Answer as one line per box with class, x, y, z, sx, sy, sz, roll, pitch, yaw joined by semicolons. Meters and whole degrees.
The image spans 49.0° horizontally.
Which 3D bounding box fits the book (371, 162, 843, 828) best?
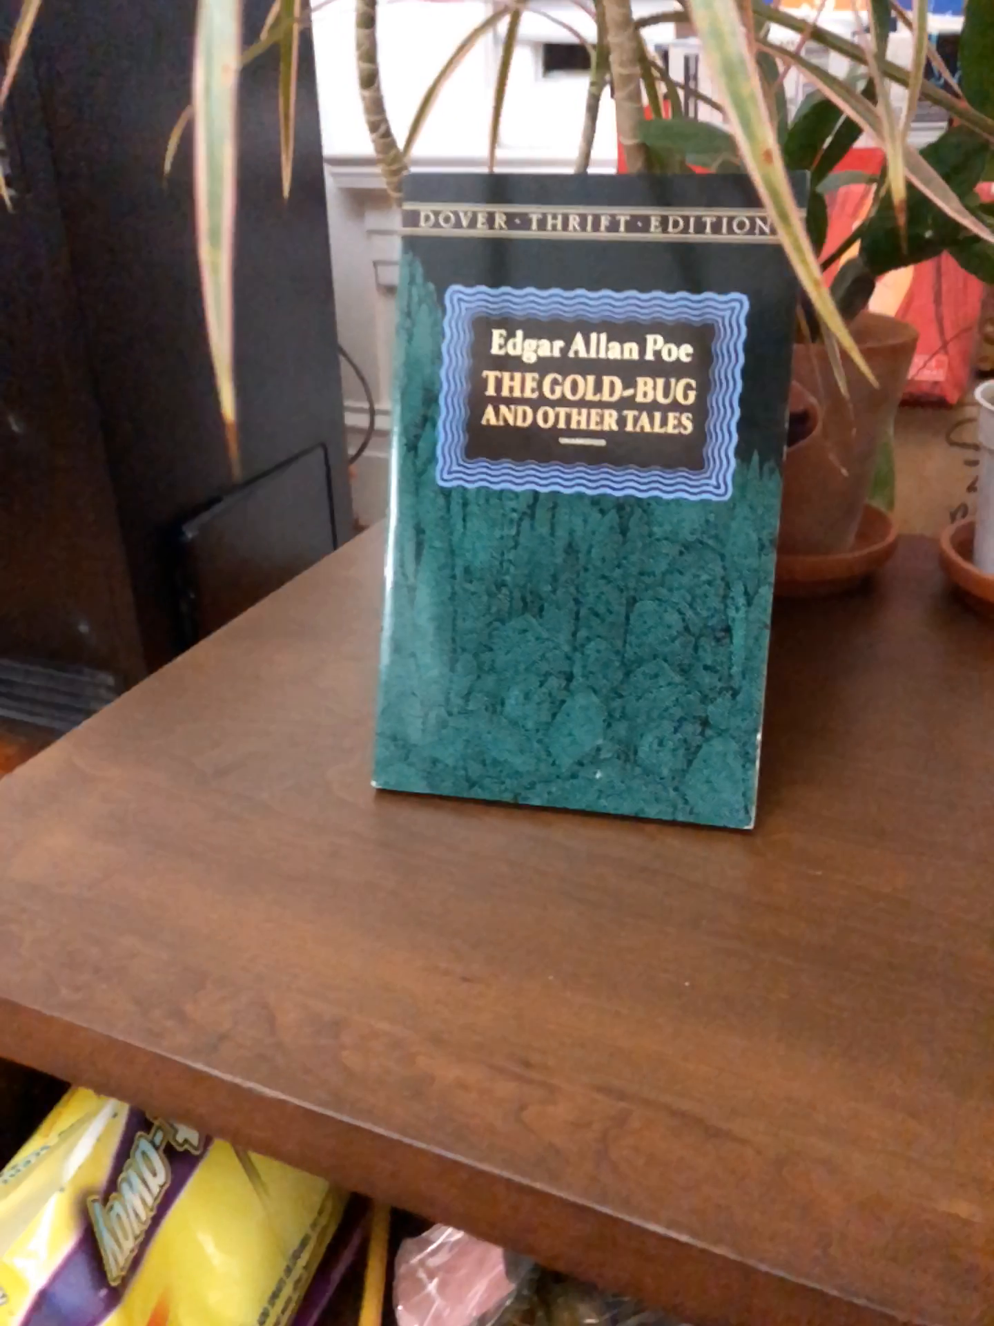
book;0.034;-0.058;0.369;0.140;0.210;0.020;5;4;10
